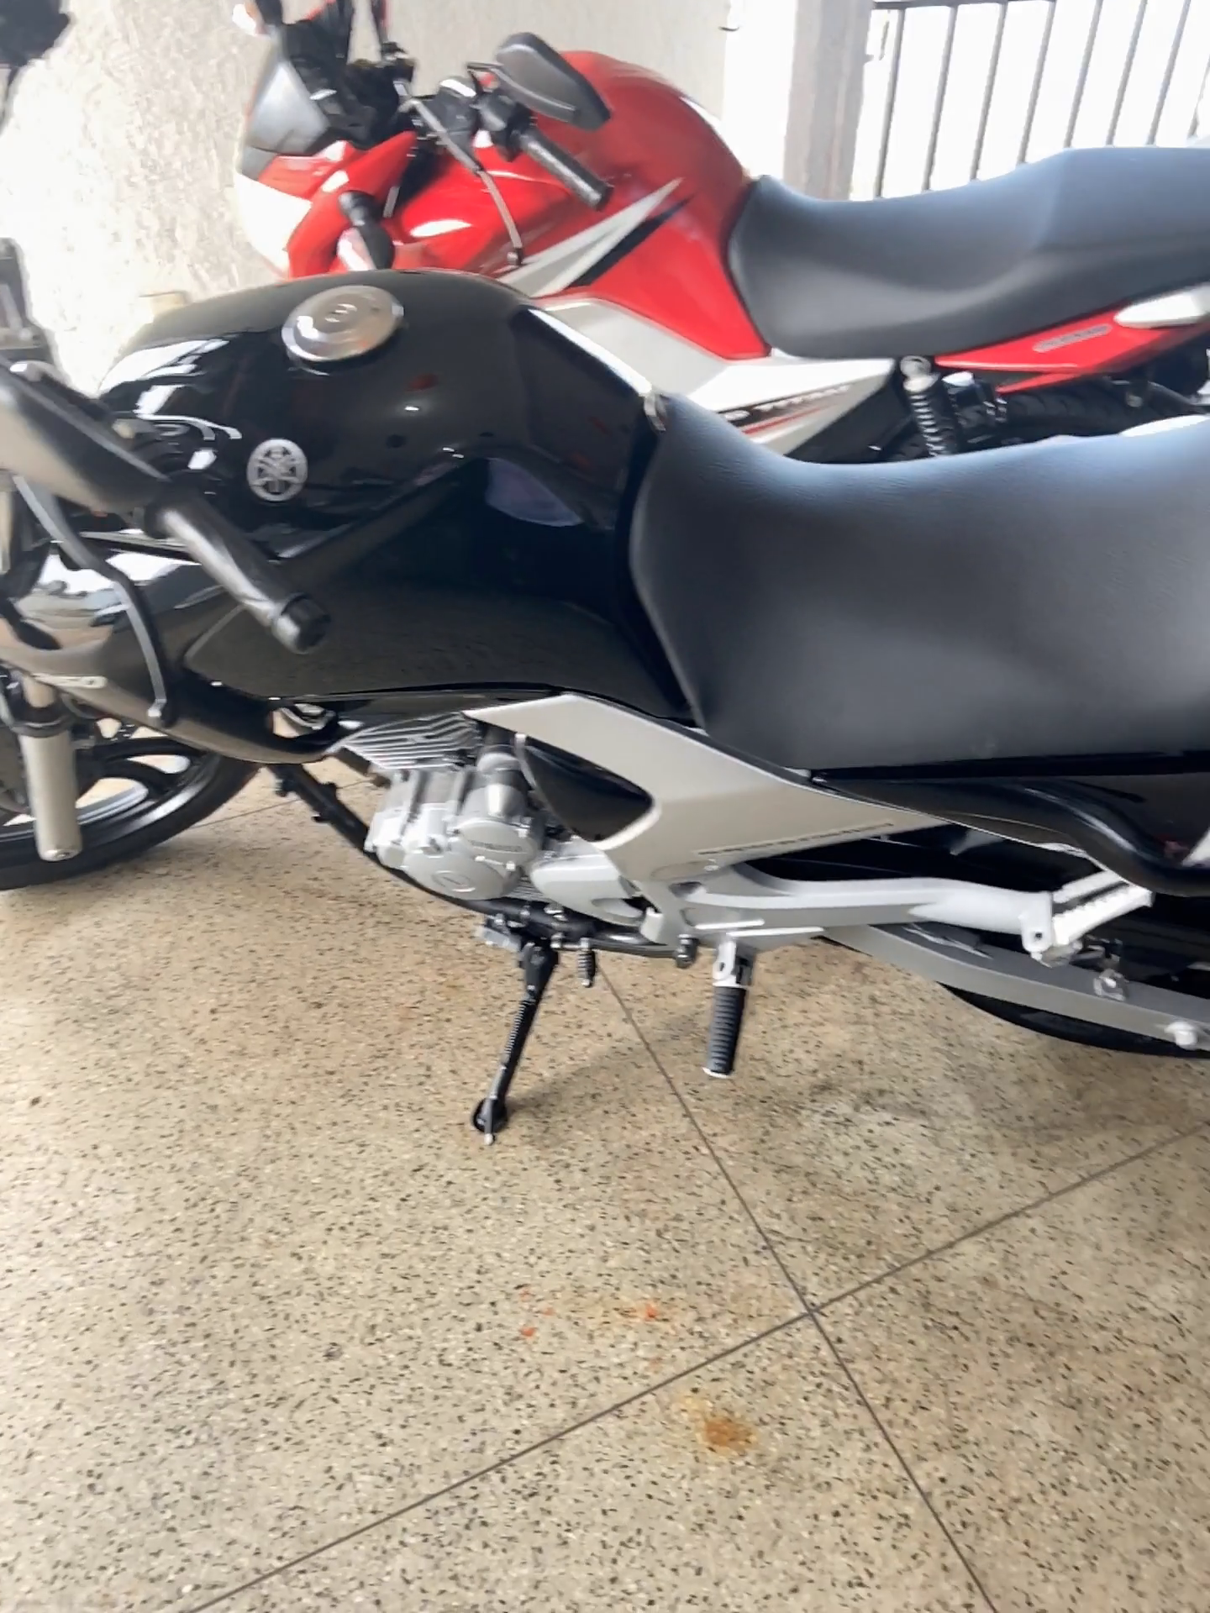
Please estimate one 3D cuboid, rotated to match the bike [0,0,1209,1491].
[{"bbox_3d":[0.036,-0.103,1.245,1.878,1.511,0.848,1,39,-2],"label":"bike"}]
